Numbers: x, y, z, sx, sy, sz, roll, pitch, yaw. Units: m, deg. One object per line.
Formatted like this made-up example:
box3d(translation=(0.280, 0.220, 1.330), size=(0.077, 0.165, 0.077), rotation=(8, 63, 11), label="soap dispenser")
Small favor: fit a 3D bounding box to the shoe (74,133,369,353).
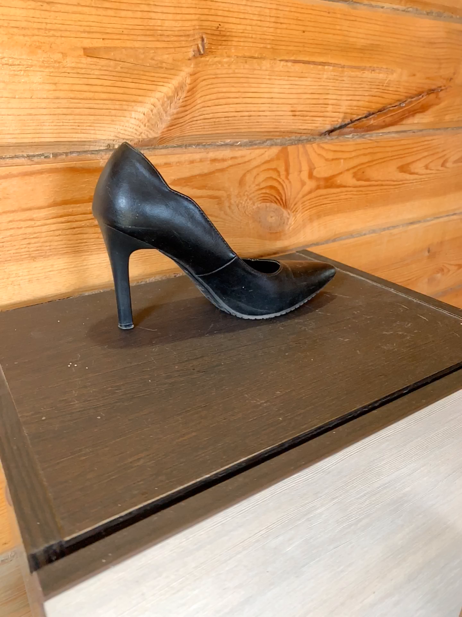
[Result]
box3d(translation=(-0.009, -0.069, 0.417), size=(0.220, 0.149, 0.101), rotation=(-9, 24, -20), label="shoe")
